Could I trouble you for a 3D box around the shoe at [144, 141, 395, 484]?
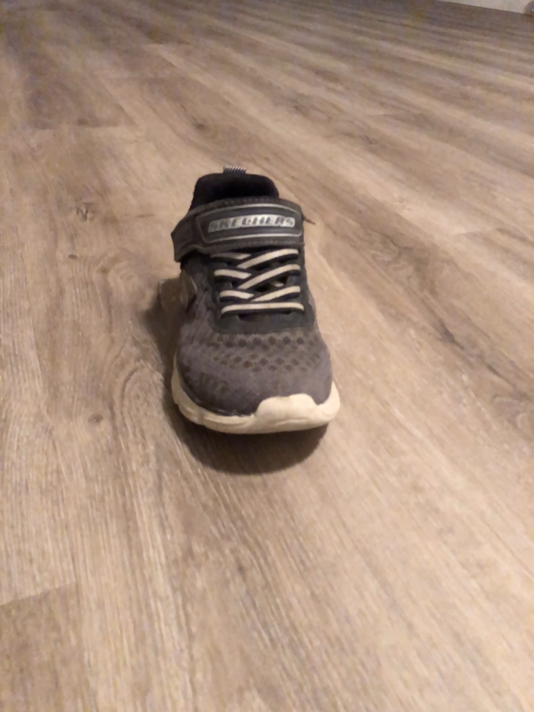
[{"bbox_3d":[-0.017,-0.047,0.354,0.100,0.099,0.231,-2,34,-9],"label":"shoe"}]
